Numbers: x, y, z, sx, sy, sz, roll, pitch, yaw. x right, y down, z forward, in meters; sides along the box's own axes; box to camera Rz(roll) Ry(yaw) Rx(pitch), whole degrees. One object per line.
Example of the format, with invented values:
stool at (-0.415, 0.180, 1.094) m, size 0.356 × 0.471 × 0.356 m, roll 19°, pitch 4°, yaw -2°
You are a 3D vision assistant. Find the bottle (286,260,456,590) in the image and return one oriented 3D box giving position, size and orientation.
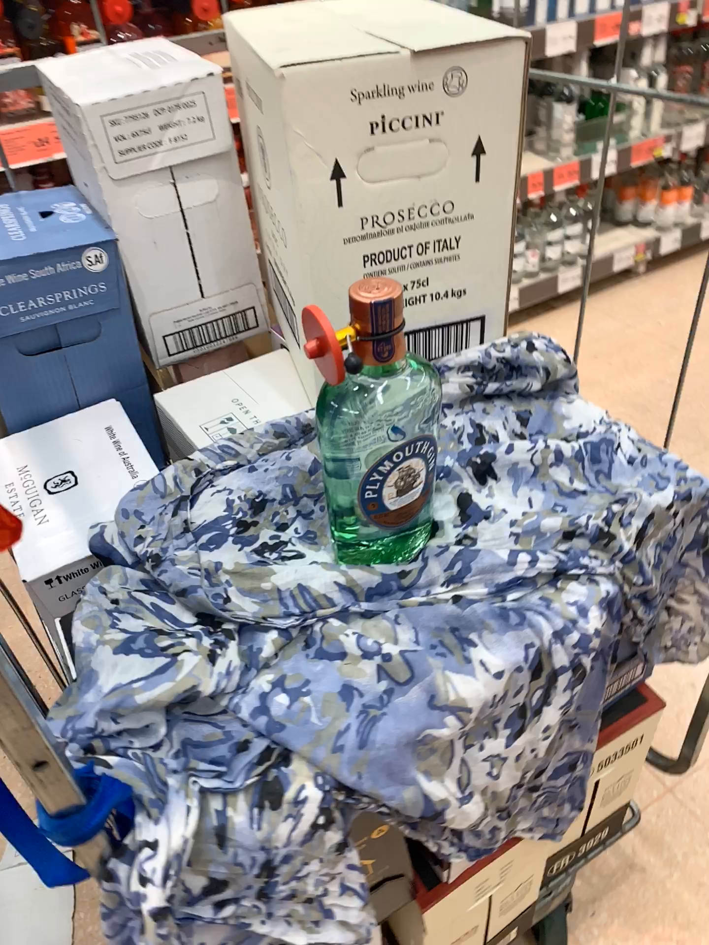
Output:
bottle at (0.018, -0.028, 0.542) m, size 0.094 × 0.228 × 0.058 m, roll -23°, pitch 42°, yaw -21°
